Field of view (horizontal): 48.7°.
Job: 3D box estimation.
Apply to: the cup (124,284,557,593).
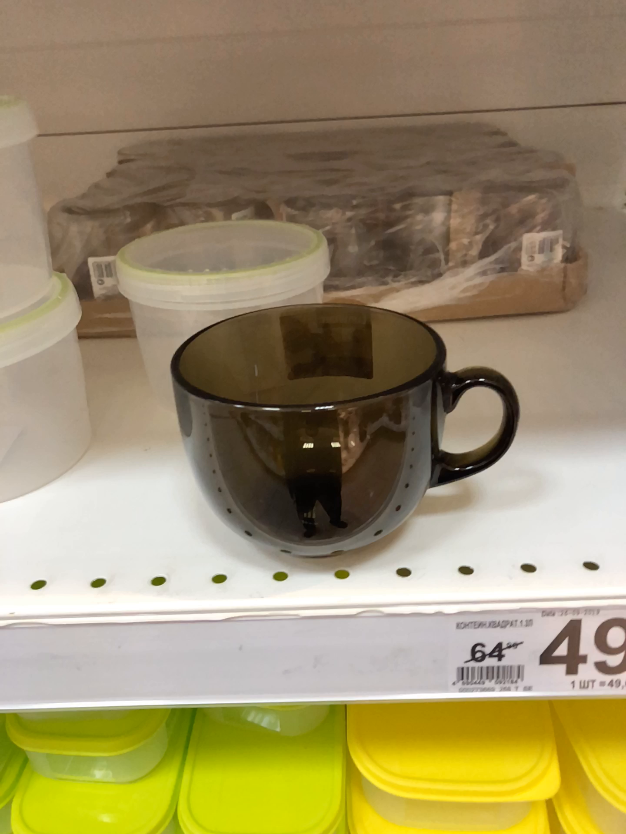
[{"bbox_3d":[0.009,0.003,0.279,0.135,0.071,0.106,-3,30,1],"label":"cup"}]
